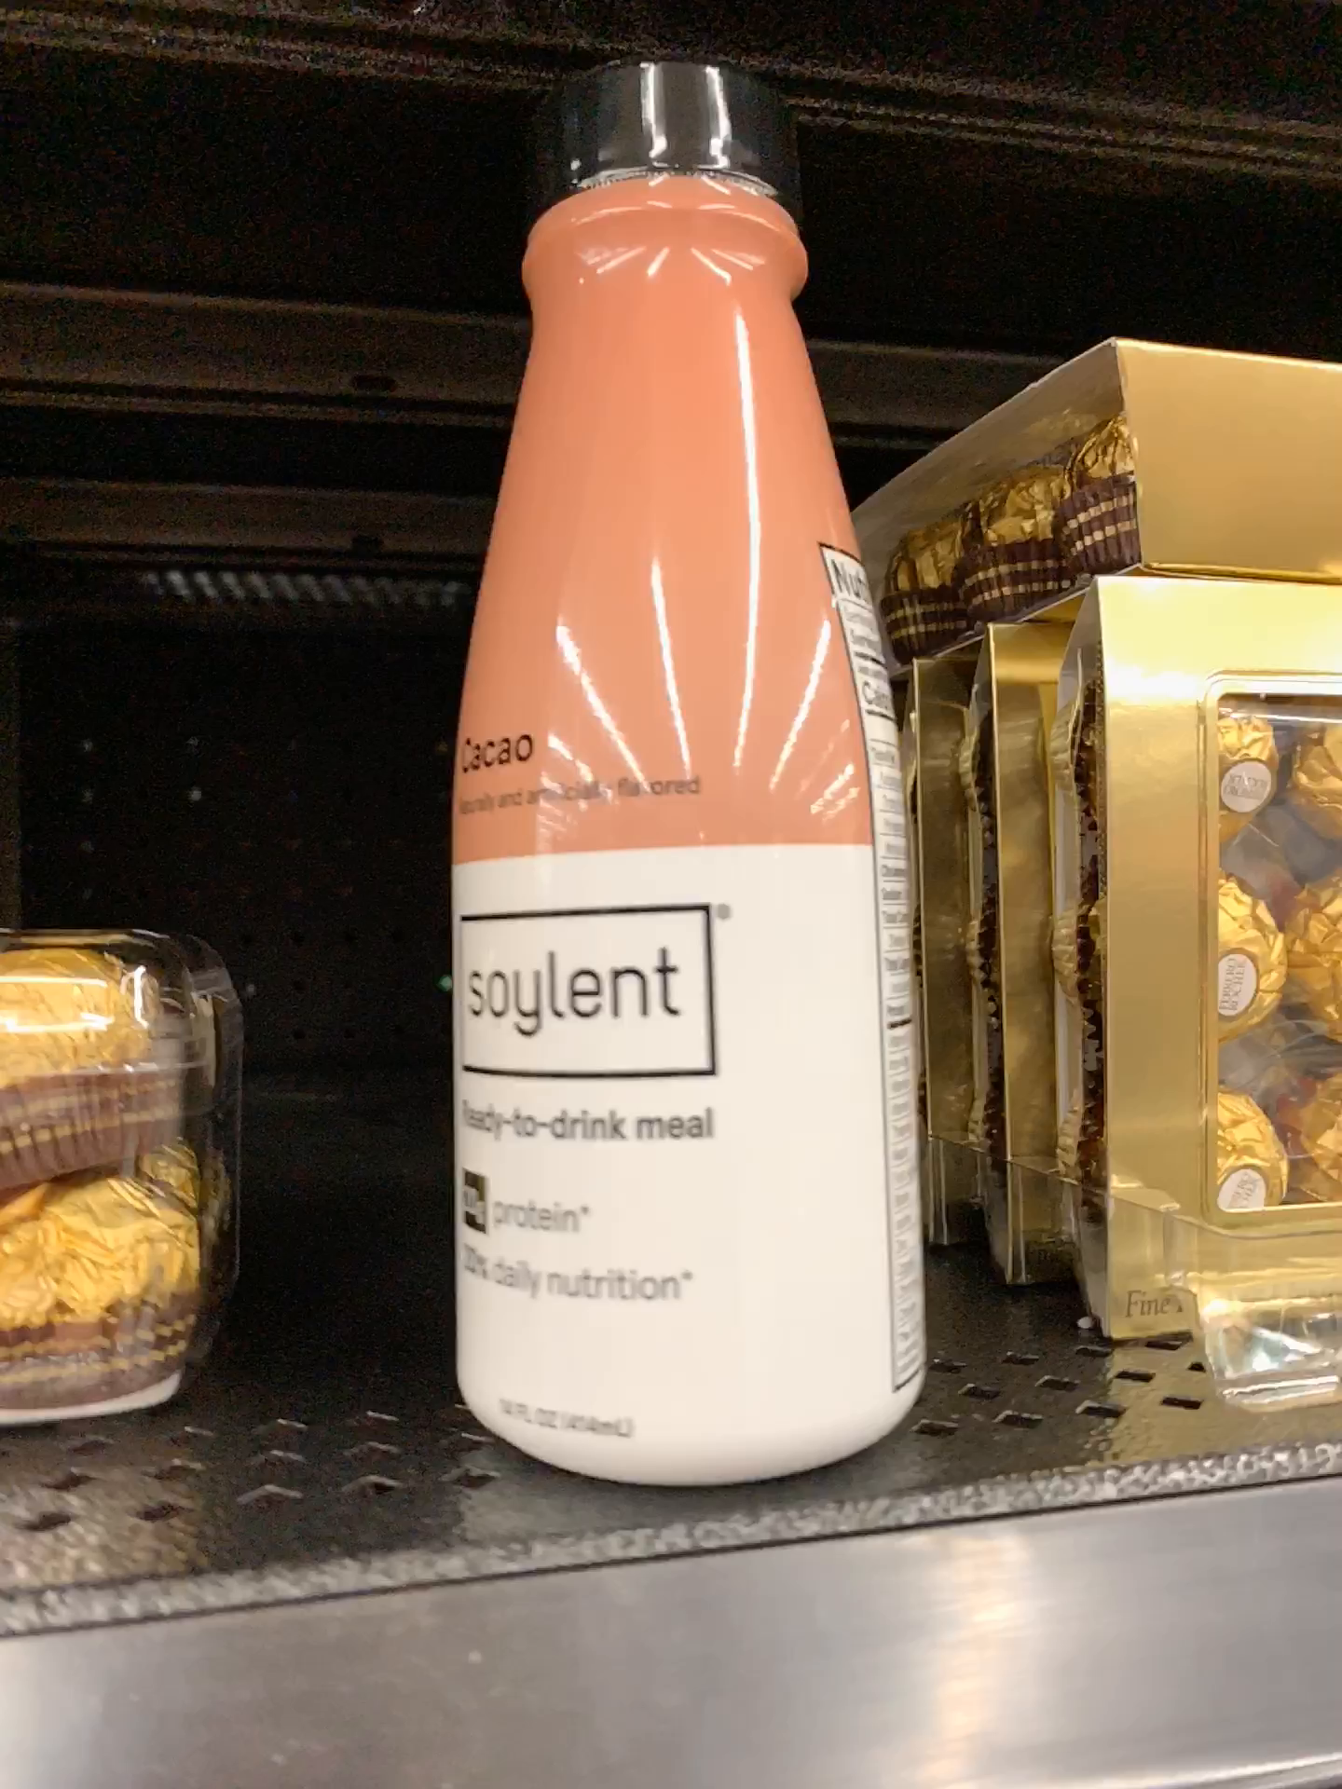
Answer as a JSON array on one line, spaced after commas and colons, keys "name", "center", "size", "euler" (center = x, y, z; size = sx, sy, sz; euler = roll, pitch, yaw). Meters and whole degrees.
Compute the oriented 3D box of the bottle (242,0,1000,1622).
[{"name": "bottle", "center": [-0.006, -0.018, 0.200], "size": [0.080, 0.190, 0.070], "euler": [-1, 0, 35]}]
